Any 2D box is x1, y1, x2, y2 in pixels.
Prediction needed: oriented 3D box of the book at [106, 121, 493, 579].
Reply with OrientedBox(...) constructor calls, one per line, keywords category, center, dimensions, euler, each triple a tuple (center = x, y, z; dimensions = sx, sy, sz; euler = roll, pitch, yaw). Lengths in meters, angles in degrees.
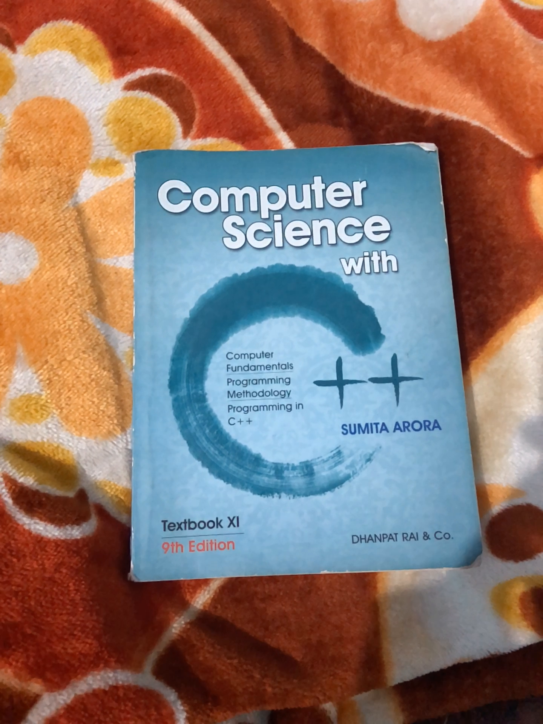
OrientedBox(category="book", center=(0.011, -0.015, 0.375), dimensions=(0.210, 0.040, 0.270), euler=(-2, 78, -3))
